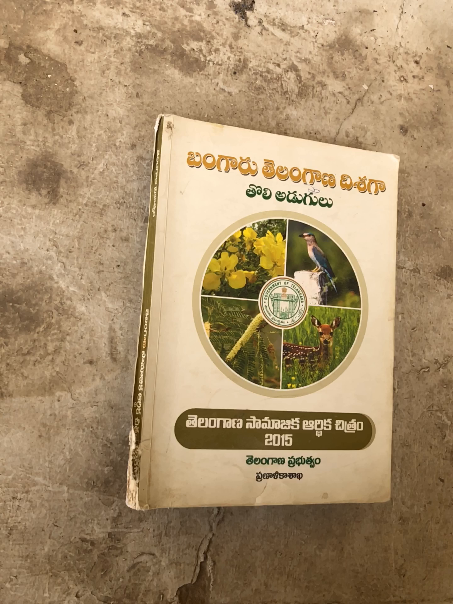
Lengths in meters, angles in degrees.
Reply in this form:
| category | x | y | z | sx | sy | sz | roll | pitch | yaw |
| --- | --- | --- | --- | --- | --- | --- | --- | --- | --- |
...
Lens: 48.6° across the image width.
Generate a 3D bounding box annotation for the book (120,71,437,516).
| category | x | y | z | sx | sy | sz | roll | pitch | yaw |
| --- | --- | --- | --- | --- | --- | --- | --- | --- | --- |
| book | 0.044 | -0.001 | 0.381 | 0.220 | 0.060 | 0.290 | 5 | 84 | -14 |
